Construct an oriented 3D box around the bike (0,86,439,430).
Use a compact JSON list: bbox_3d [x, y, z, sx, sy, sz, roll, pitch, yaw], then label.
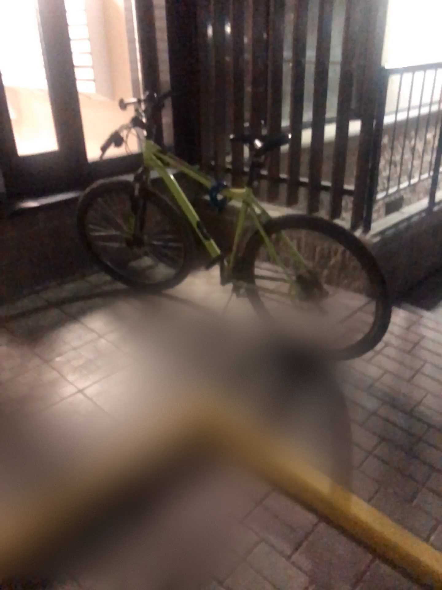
[{"bbox_3d":[-0.111,-0.329,2.288,1.763,1.095,0.721,16,31,30],"label":"bike"}]
